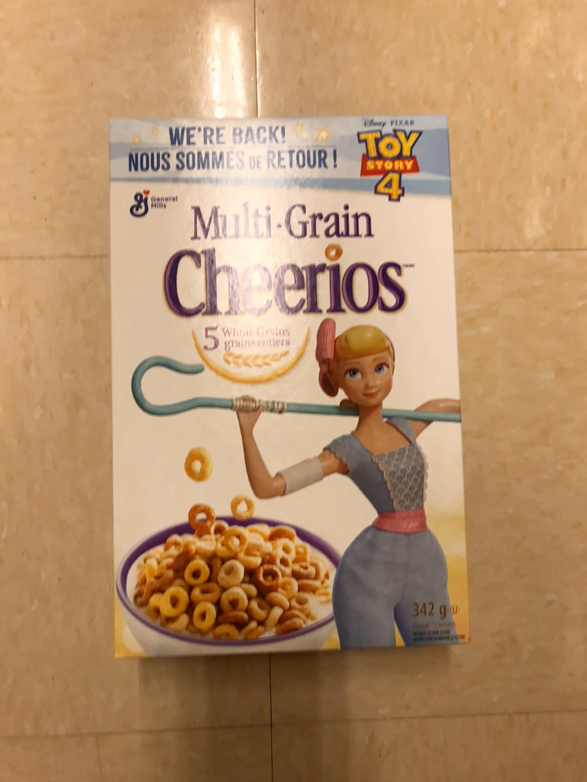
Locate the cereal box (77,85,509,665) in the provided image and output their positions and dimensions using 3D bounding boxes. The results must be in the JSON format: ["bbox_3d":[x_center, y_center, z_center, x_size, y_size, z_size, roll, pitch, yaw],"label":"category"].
[{"bbox_3d":[-0.003,-0.012,0.364,0.210,0.070,0.290,-2,87,-2],"label":"cereal box"}]
